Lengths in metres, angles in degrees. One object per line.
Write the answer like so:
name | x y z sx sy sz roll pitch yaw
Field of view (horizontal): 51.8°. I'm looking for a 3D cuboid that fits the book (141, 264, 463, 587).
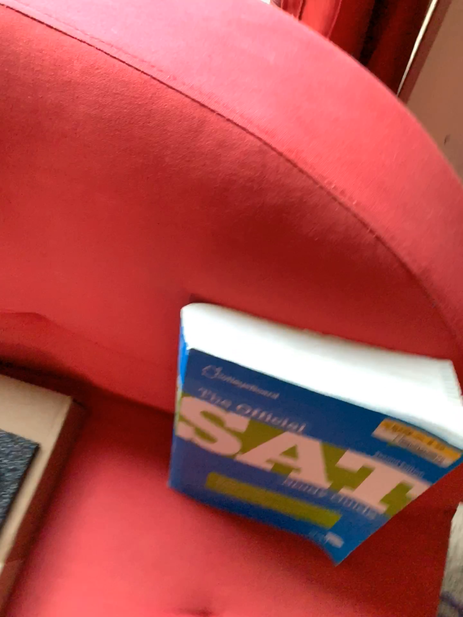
book | 0.044 0.120 0.430 0.230 0.260 0.080 20 43 8
